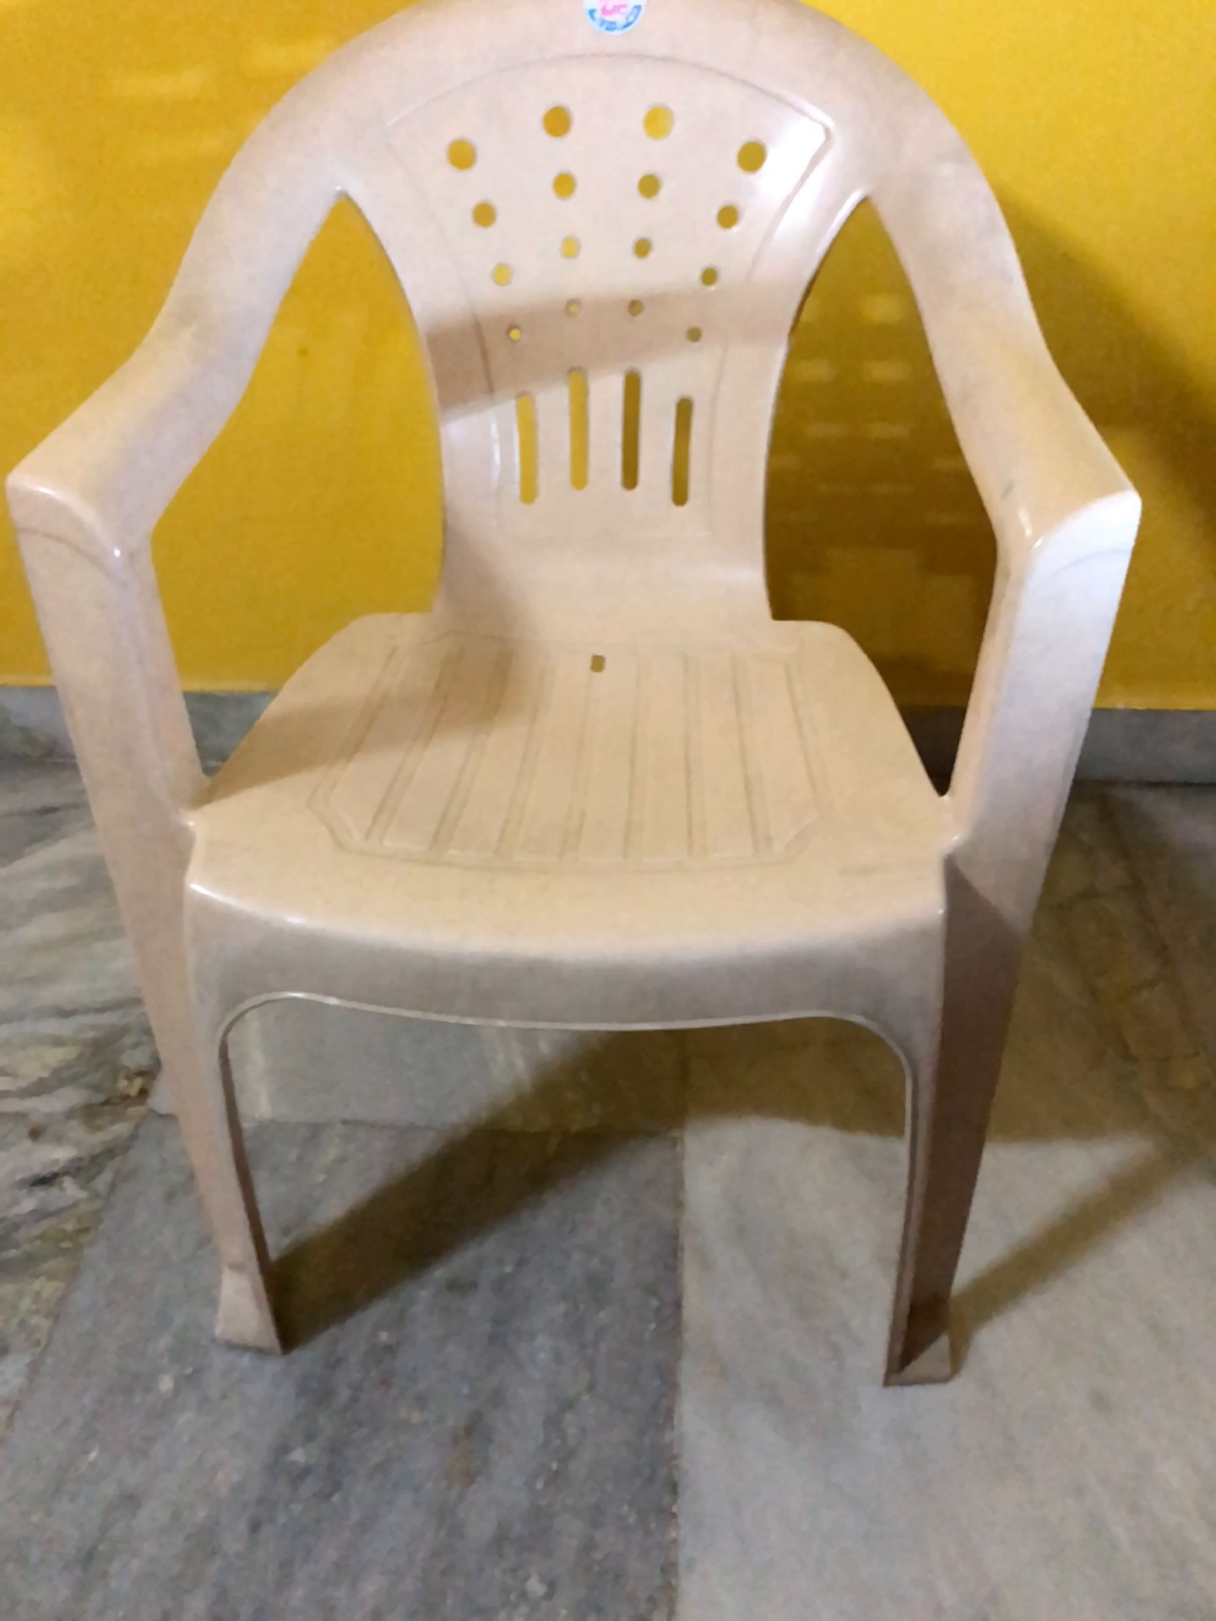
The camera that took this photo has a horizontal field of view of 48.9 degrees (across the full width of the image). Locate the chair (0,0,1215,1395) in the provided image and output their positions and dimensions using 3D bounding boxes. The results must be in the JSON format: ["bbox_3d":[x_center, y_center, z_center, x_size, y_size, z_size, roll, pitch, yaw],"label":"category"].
[{"bbox_3d":[-0.007,-0.111,0.870,0.530,0.785,0.564,1,37,3],"label":"chair"}]
